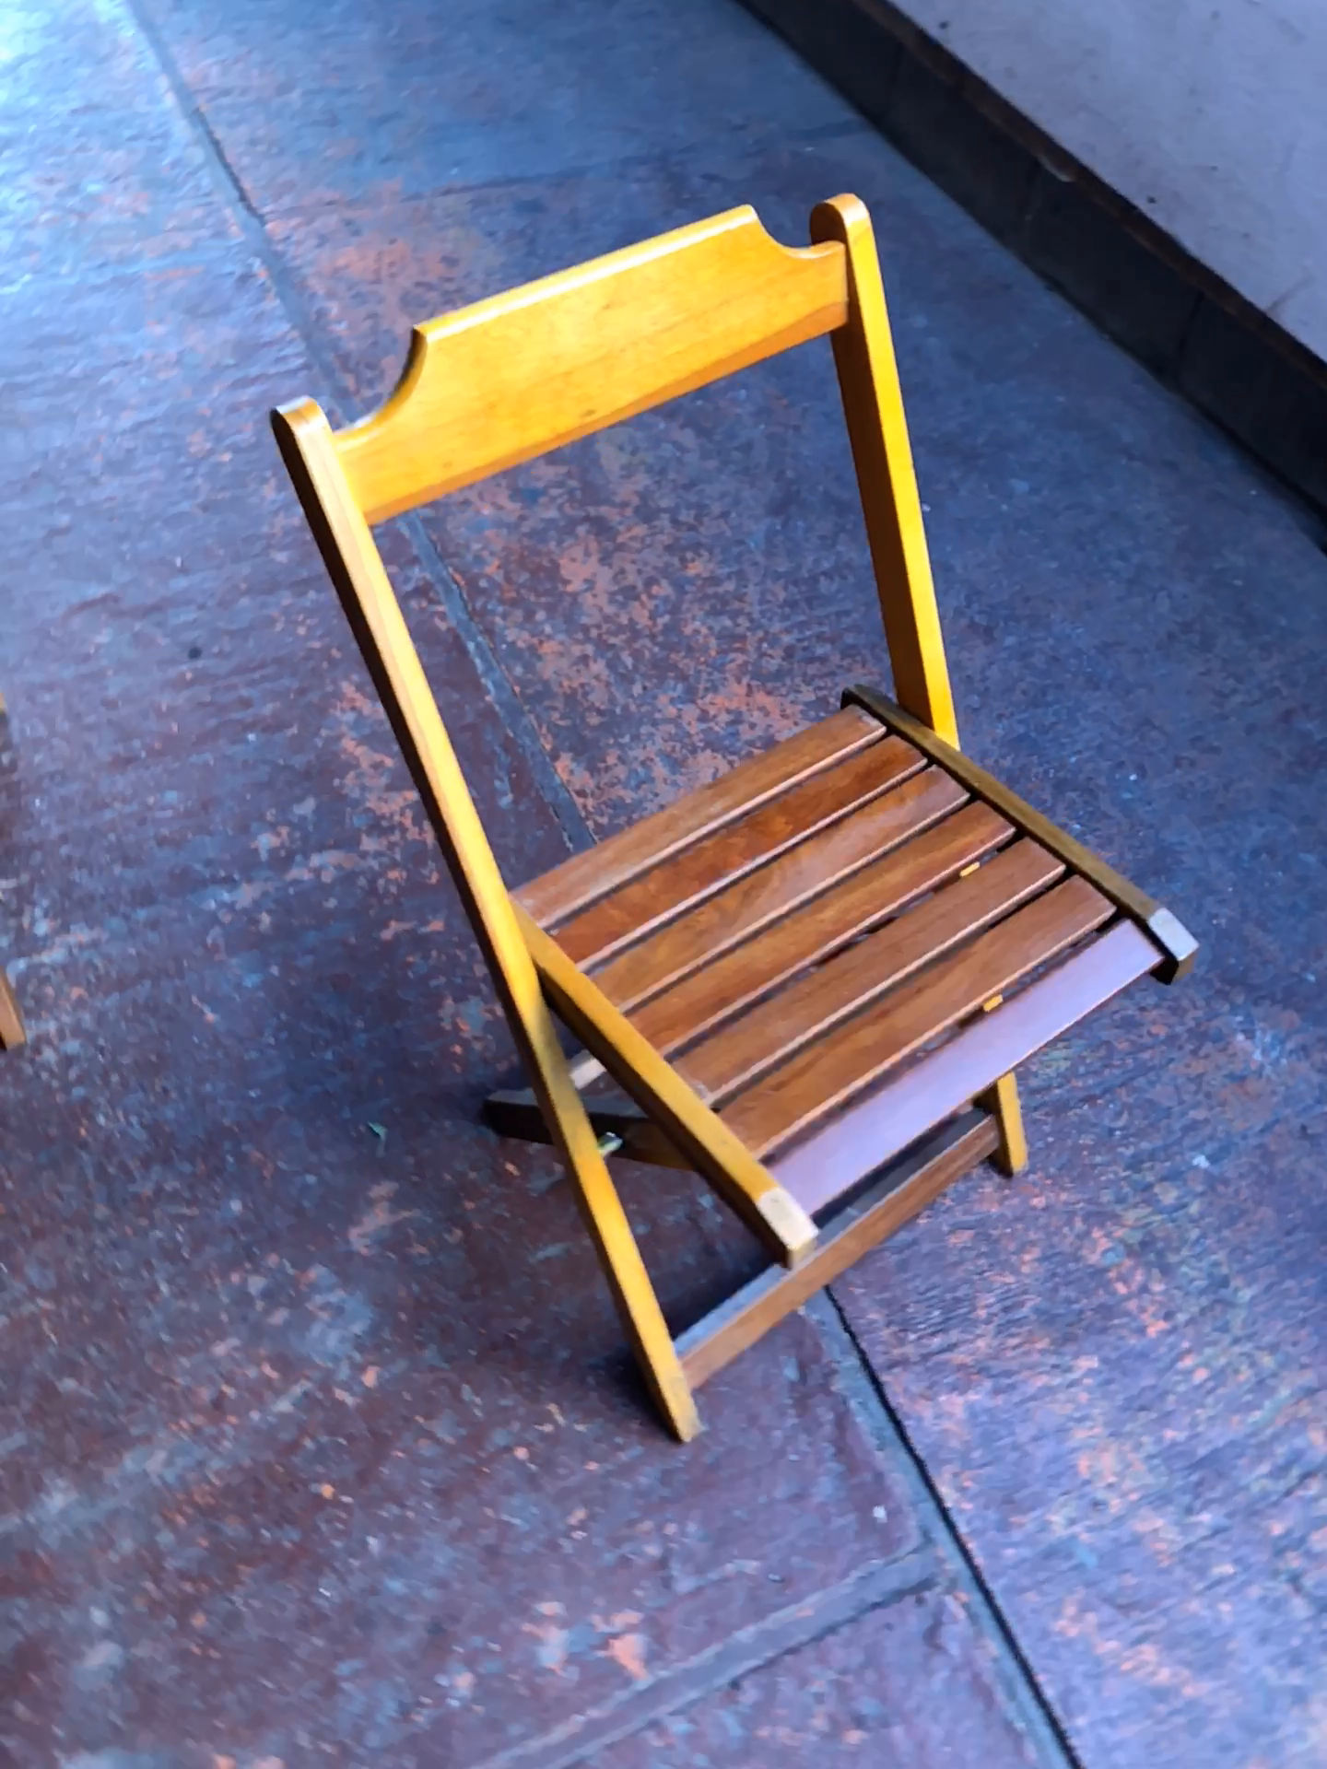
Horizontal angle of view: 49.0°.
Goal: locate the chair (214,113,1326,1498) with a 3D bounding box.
[{"bbox_3d":[0.070,-0.017,1.026,0.451,0.736,0.471,-31,60,-26],"label":"chair"}]
